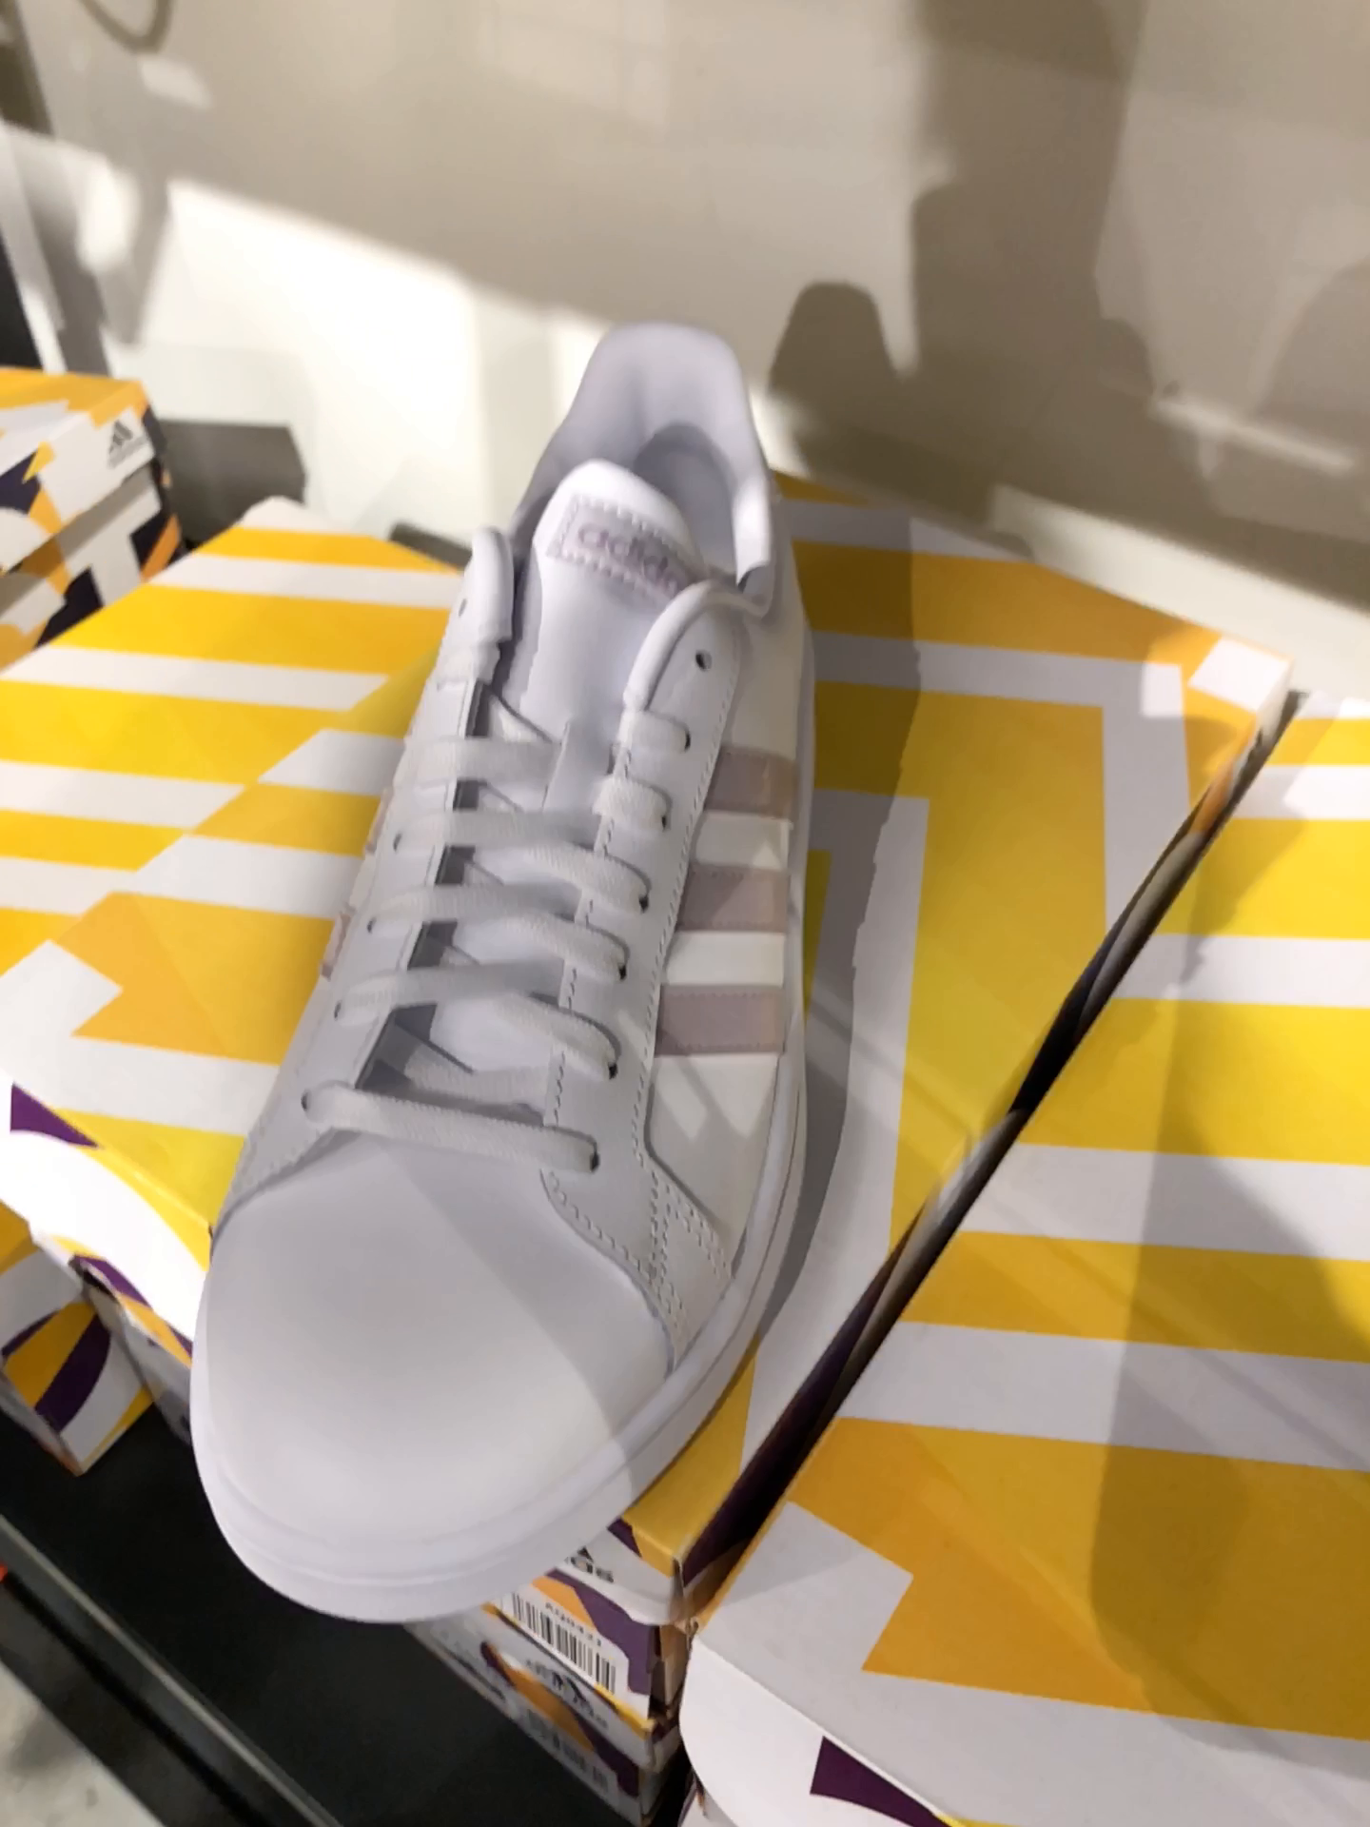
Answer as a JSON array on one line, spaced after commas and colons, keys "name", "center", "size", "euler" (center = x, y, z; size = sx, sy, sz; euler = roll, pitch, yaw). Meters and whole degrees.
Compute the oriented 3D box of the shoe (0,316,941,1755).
[{"name": "shoe", "center": [-0.023, -0.009, 0.317], "size": [0.110, 0.090, 0.291], "euler": [9, 48, 8]}]
